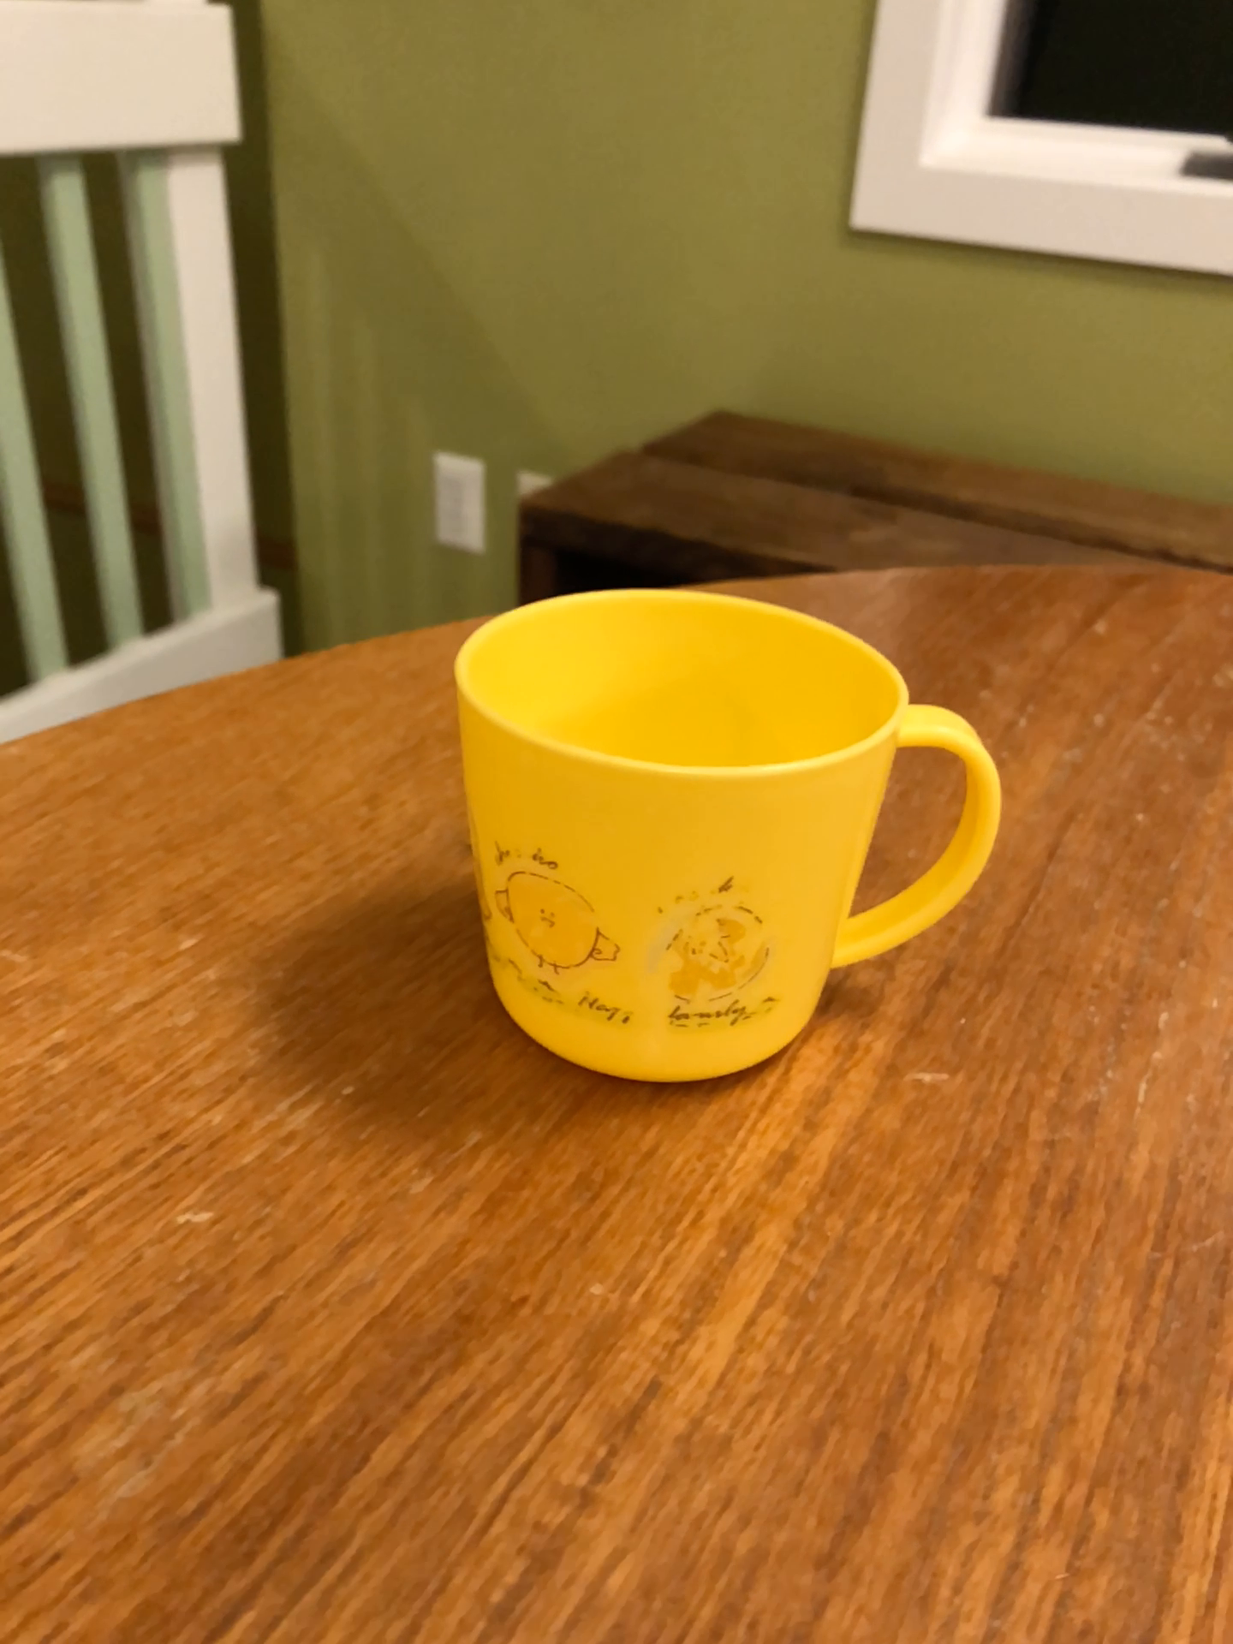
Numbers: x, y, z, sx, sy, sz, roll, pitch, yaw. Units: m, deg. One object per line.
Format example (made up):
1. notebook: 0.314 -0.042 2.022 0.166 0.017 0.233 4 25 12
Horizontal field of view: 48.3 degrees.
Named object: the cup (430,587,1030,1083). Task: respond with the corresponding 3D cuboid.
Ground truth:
1. cup: 0.015 0.000 0.272 0.097 0.064 0.081 1 30 -5
